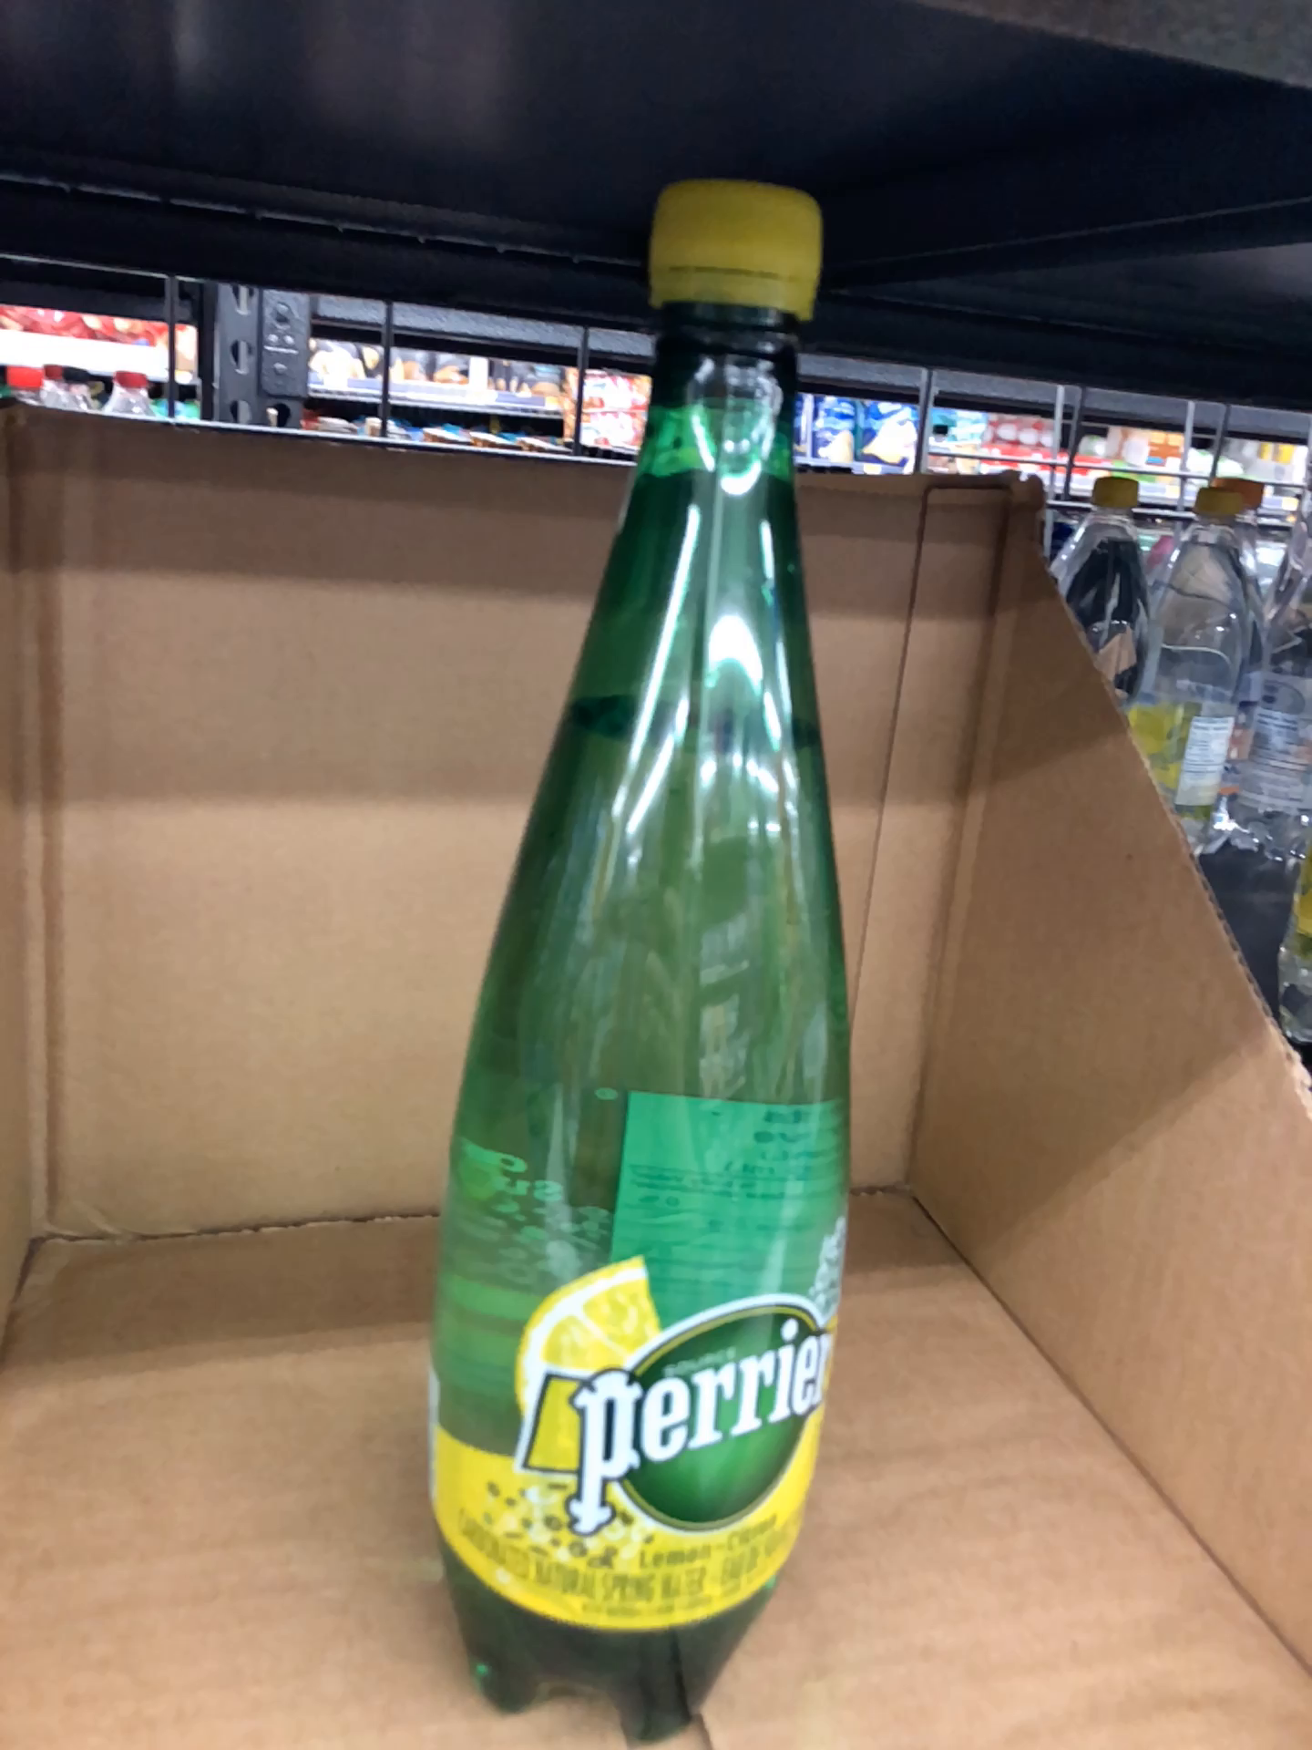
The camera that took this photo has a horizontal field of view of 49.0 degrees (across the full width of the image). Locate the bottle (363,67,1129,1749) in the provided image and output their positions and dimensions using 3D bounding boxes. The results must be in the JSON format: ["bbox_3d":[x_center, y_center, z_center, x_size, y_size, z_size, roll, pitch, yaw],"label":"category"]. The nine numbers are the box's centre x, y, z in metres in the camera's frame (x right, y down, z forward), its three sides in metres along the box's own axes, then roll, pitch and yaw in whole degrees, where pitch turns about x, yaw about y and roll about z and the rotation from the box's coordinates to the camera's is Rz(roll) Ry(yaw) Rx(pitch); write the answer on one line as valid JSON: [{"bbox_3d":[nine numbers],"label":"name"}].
[{"bbox_3d":[0.003,0.026,0.299,0.100,0.318,0.080,-2,17,-24],"label":"bottle"}]
